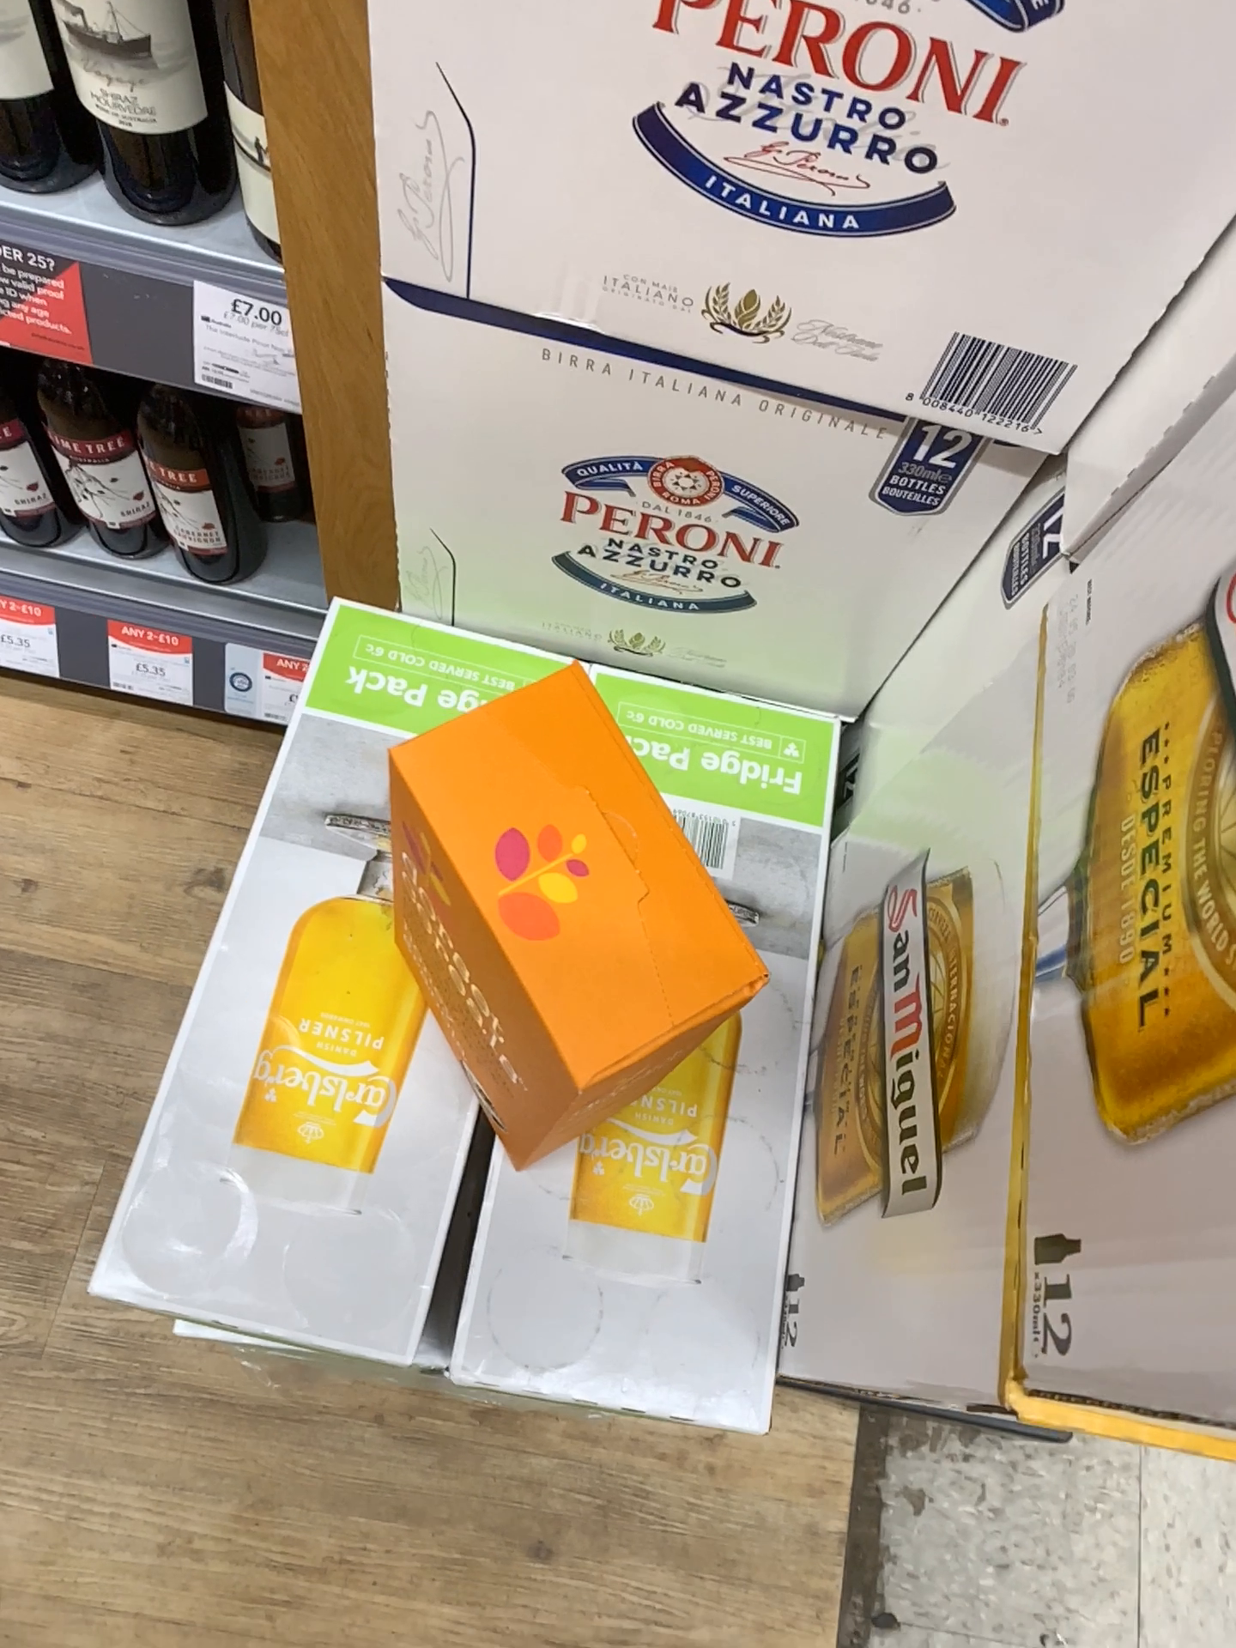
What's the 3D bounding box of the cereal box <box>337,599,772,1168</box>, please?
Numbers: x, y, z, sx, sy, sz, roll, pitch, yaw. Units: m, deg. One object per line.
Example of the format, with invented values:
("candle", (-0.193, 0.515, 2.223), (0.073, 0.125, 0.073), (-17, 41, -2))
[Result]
("cereal box", (-0.032, 0.035, 0.435), (0.070, 0.199, 0.120), (-26, 74, -17))
